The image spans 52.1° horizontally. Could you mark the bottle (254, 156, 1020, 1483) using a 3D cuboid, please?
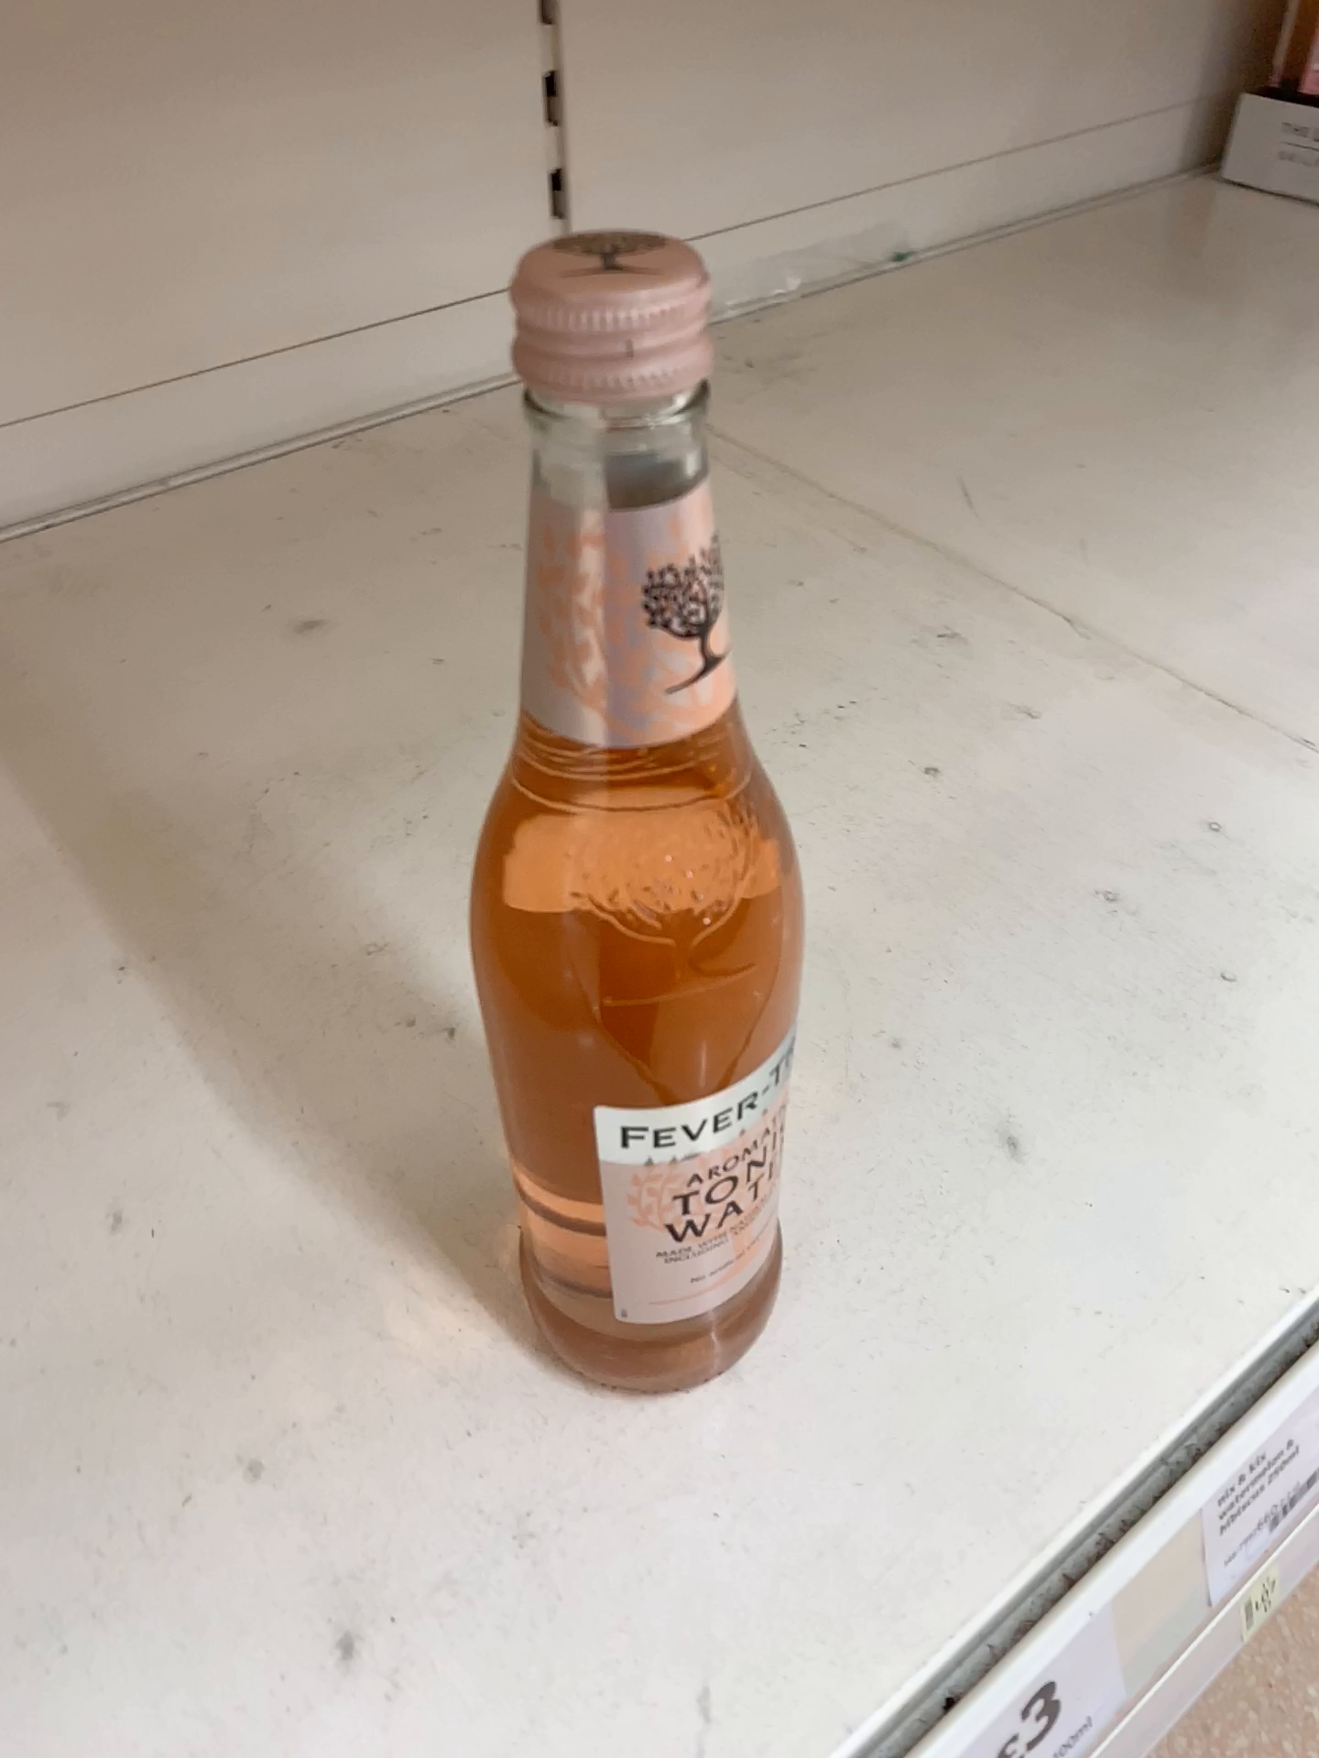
[{"bbox_3d":[-0.001,0.012,0.266,0.078,0.254,0.067,-33,51,-30],"label":"bottle"}]
